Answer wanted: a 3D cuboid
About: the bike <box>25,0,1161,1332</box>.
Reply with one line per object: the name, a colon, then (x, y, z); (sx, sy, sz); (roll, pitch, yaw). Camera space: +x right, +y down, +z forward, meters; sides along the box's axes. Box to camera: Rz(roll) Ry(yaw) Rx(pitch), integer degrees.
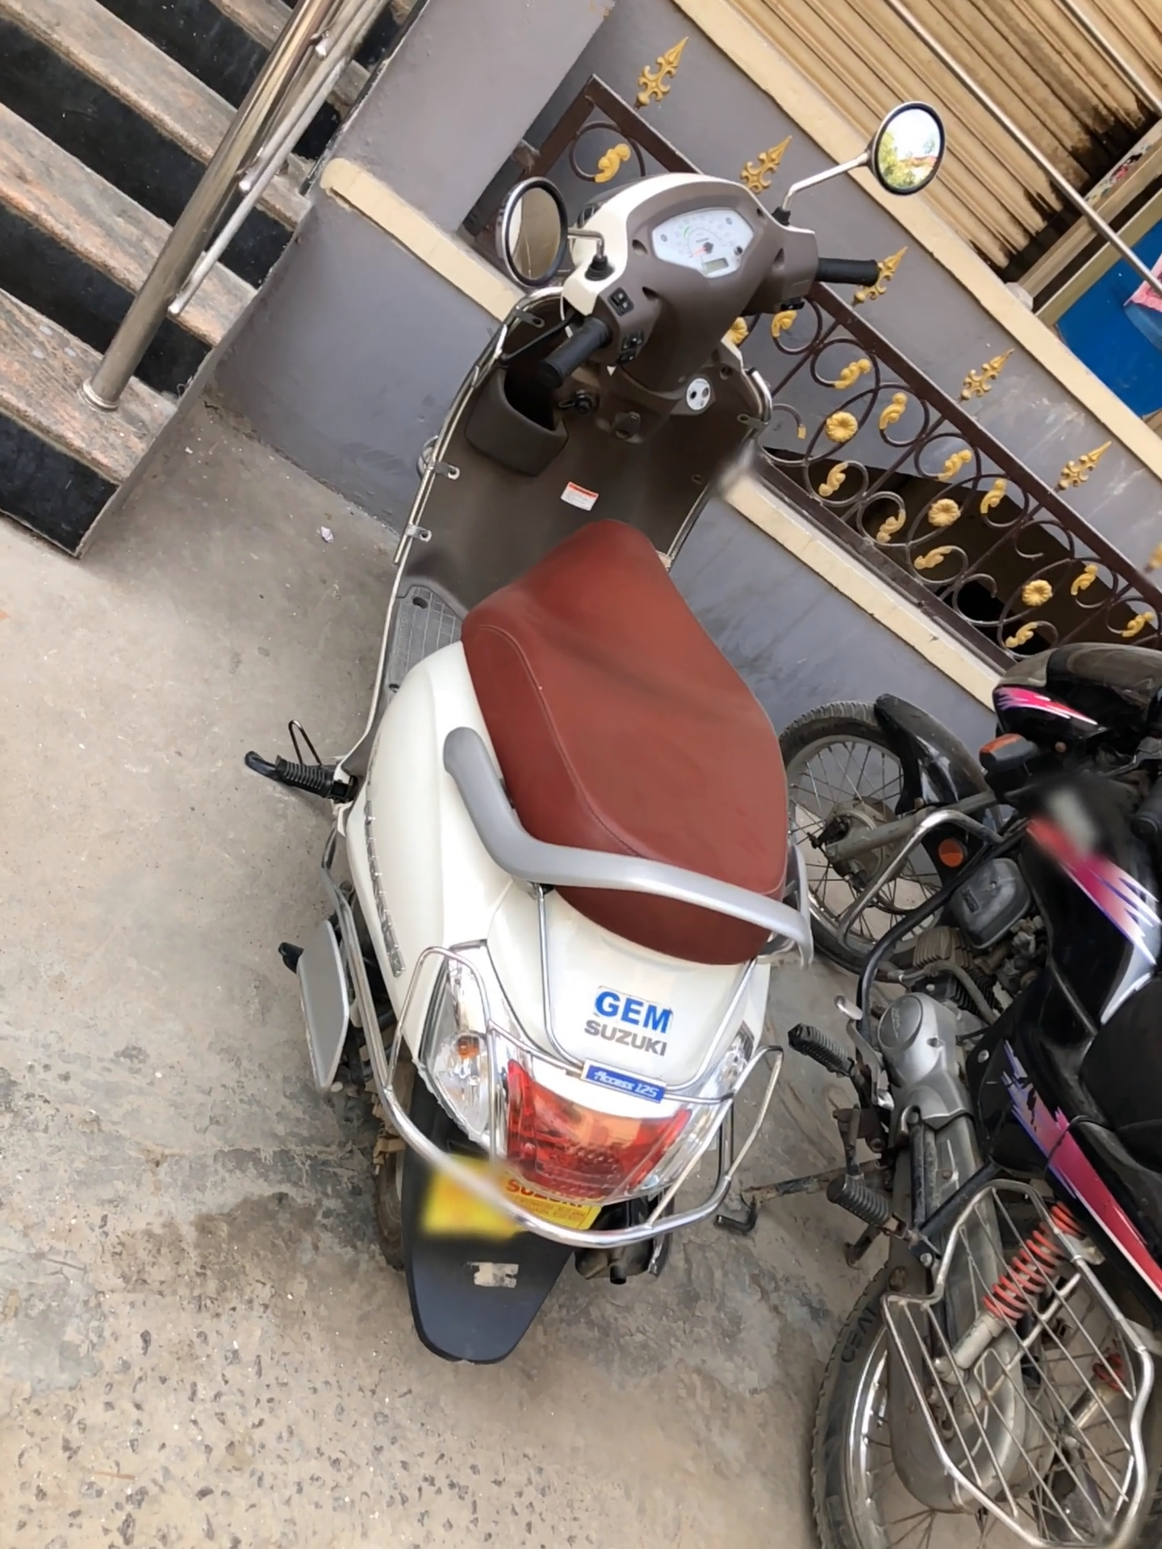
bike: (-0.055, -0.293, 1.788); (0.597, 1.195, 1.492); (28, 35, -29)
